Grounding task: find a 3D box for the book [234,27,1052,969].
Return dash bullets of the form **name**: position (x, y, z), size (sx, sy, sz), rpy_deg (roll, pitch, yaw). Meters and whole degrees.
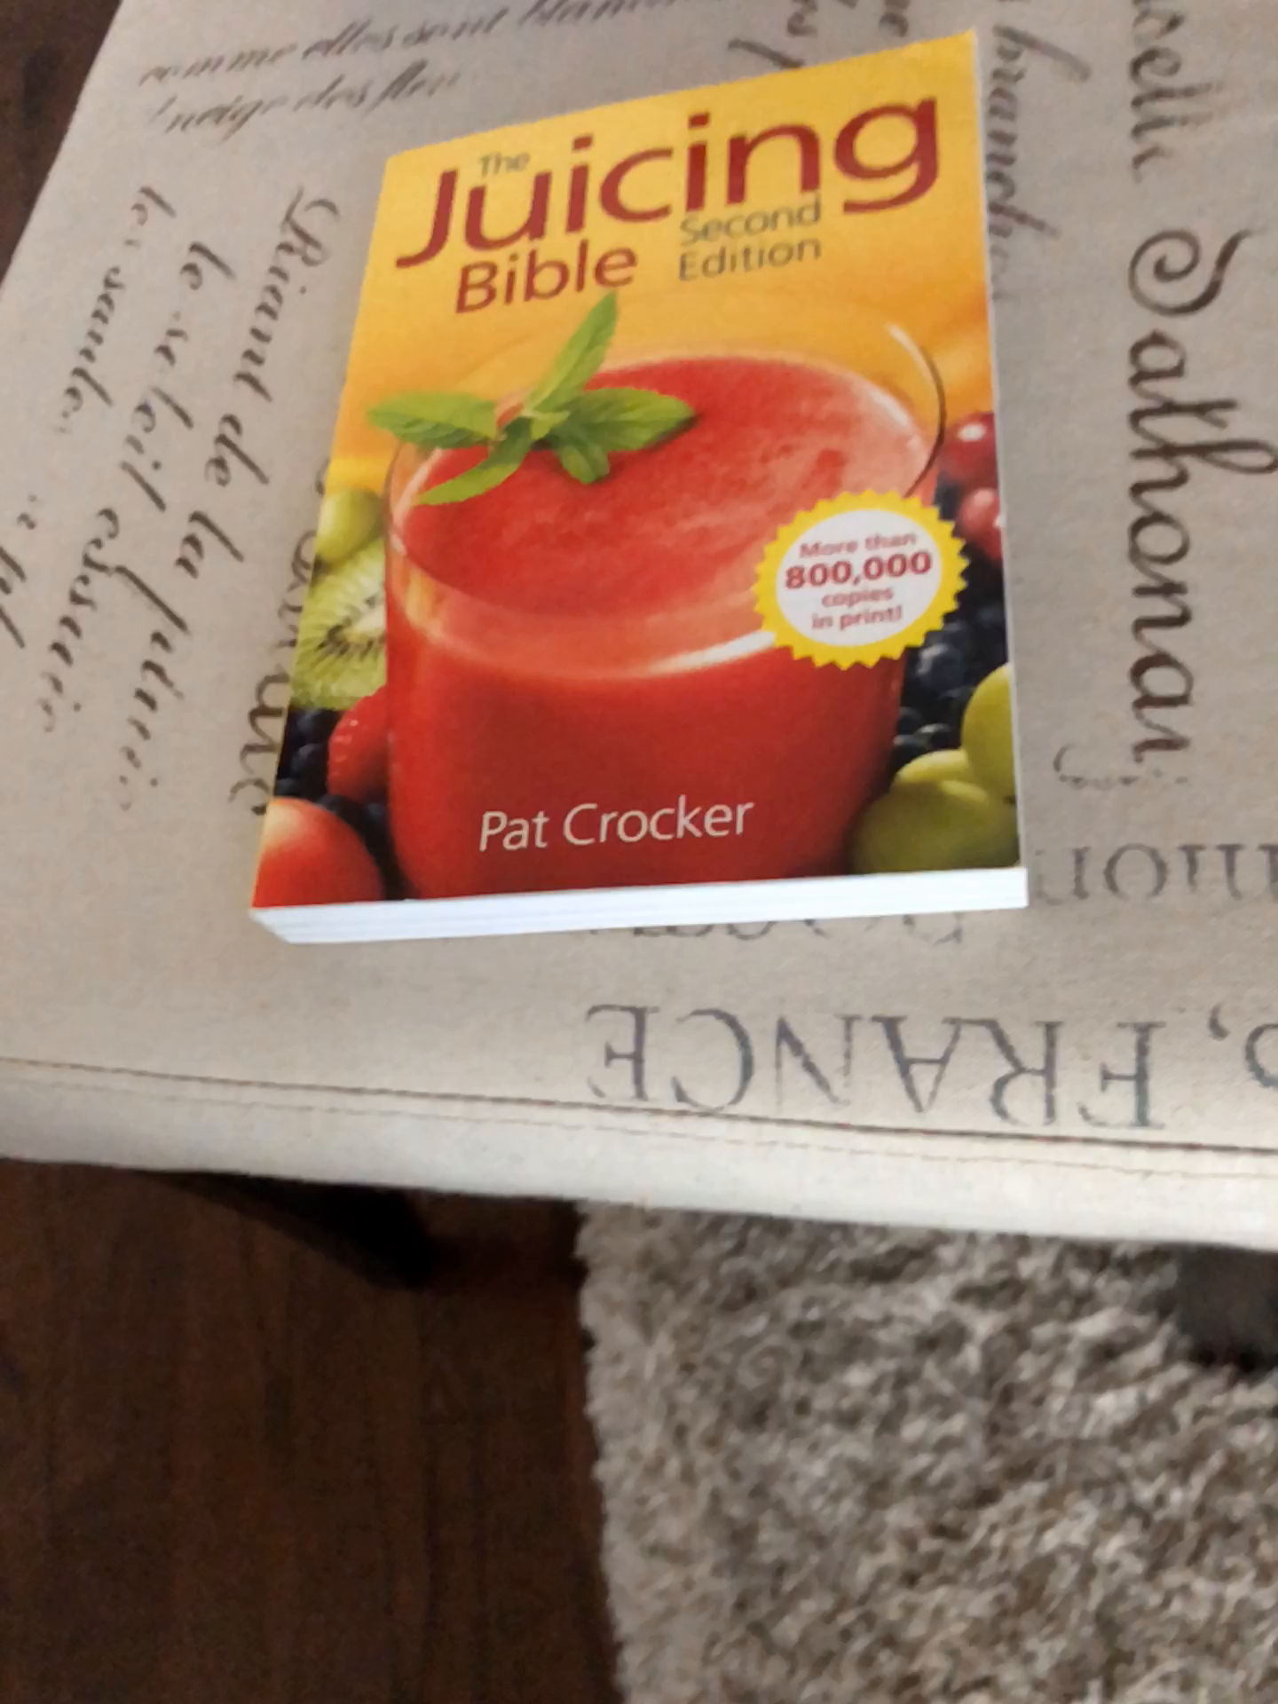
- **book**: position (0.005, -0.096, 0.370), size (0.180, 0.030, 0.250), rpy_deg (-4, 65, 15)
